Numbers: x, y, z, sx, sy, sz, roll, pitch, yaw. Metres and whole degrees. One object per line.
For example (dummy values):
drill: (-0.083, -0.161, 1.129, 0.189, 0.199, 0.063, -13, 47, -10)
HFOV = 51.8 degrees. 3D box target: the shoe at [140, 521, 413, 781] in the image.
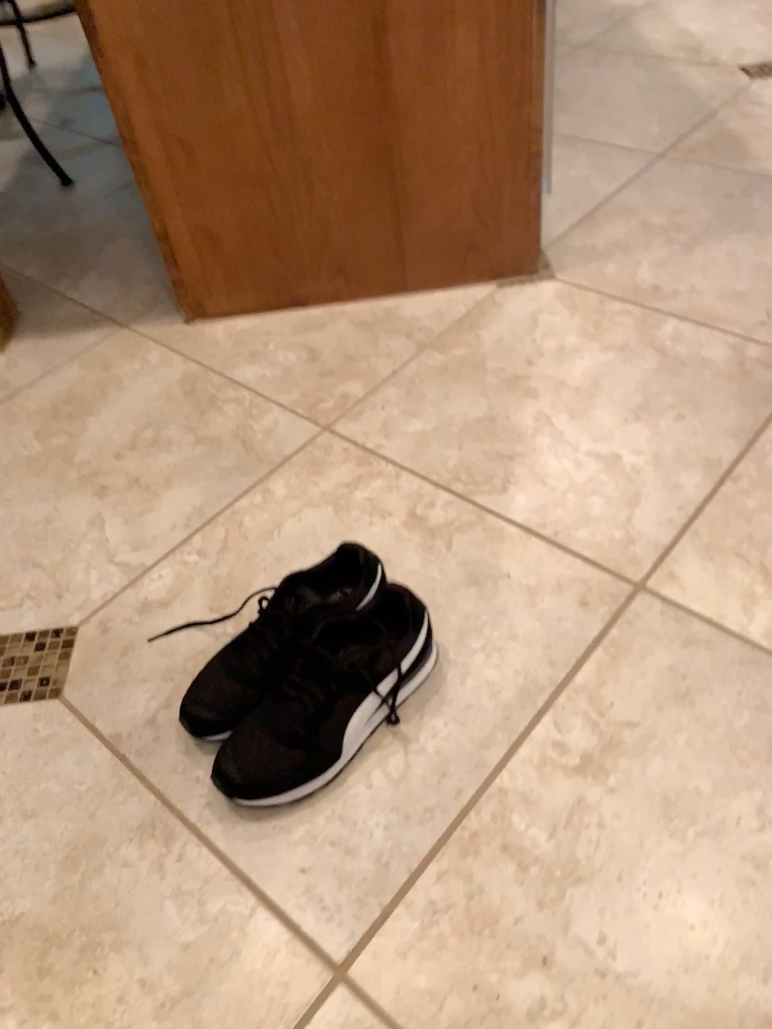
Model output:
shoe: (-0.109, 0.140, 0.864, 0.269, 0.095, 0.109, -37, 52, -24)

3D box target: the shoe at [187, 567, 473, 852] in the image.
shoe: (-0.047, 0.189, 0.807, 0.269, 0.095, 0.109, -37, 50, -24)
